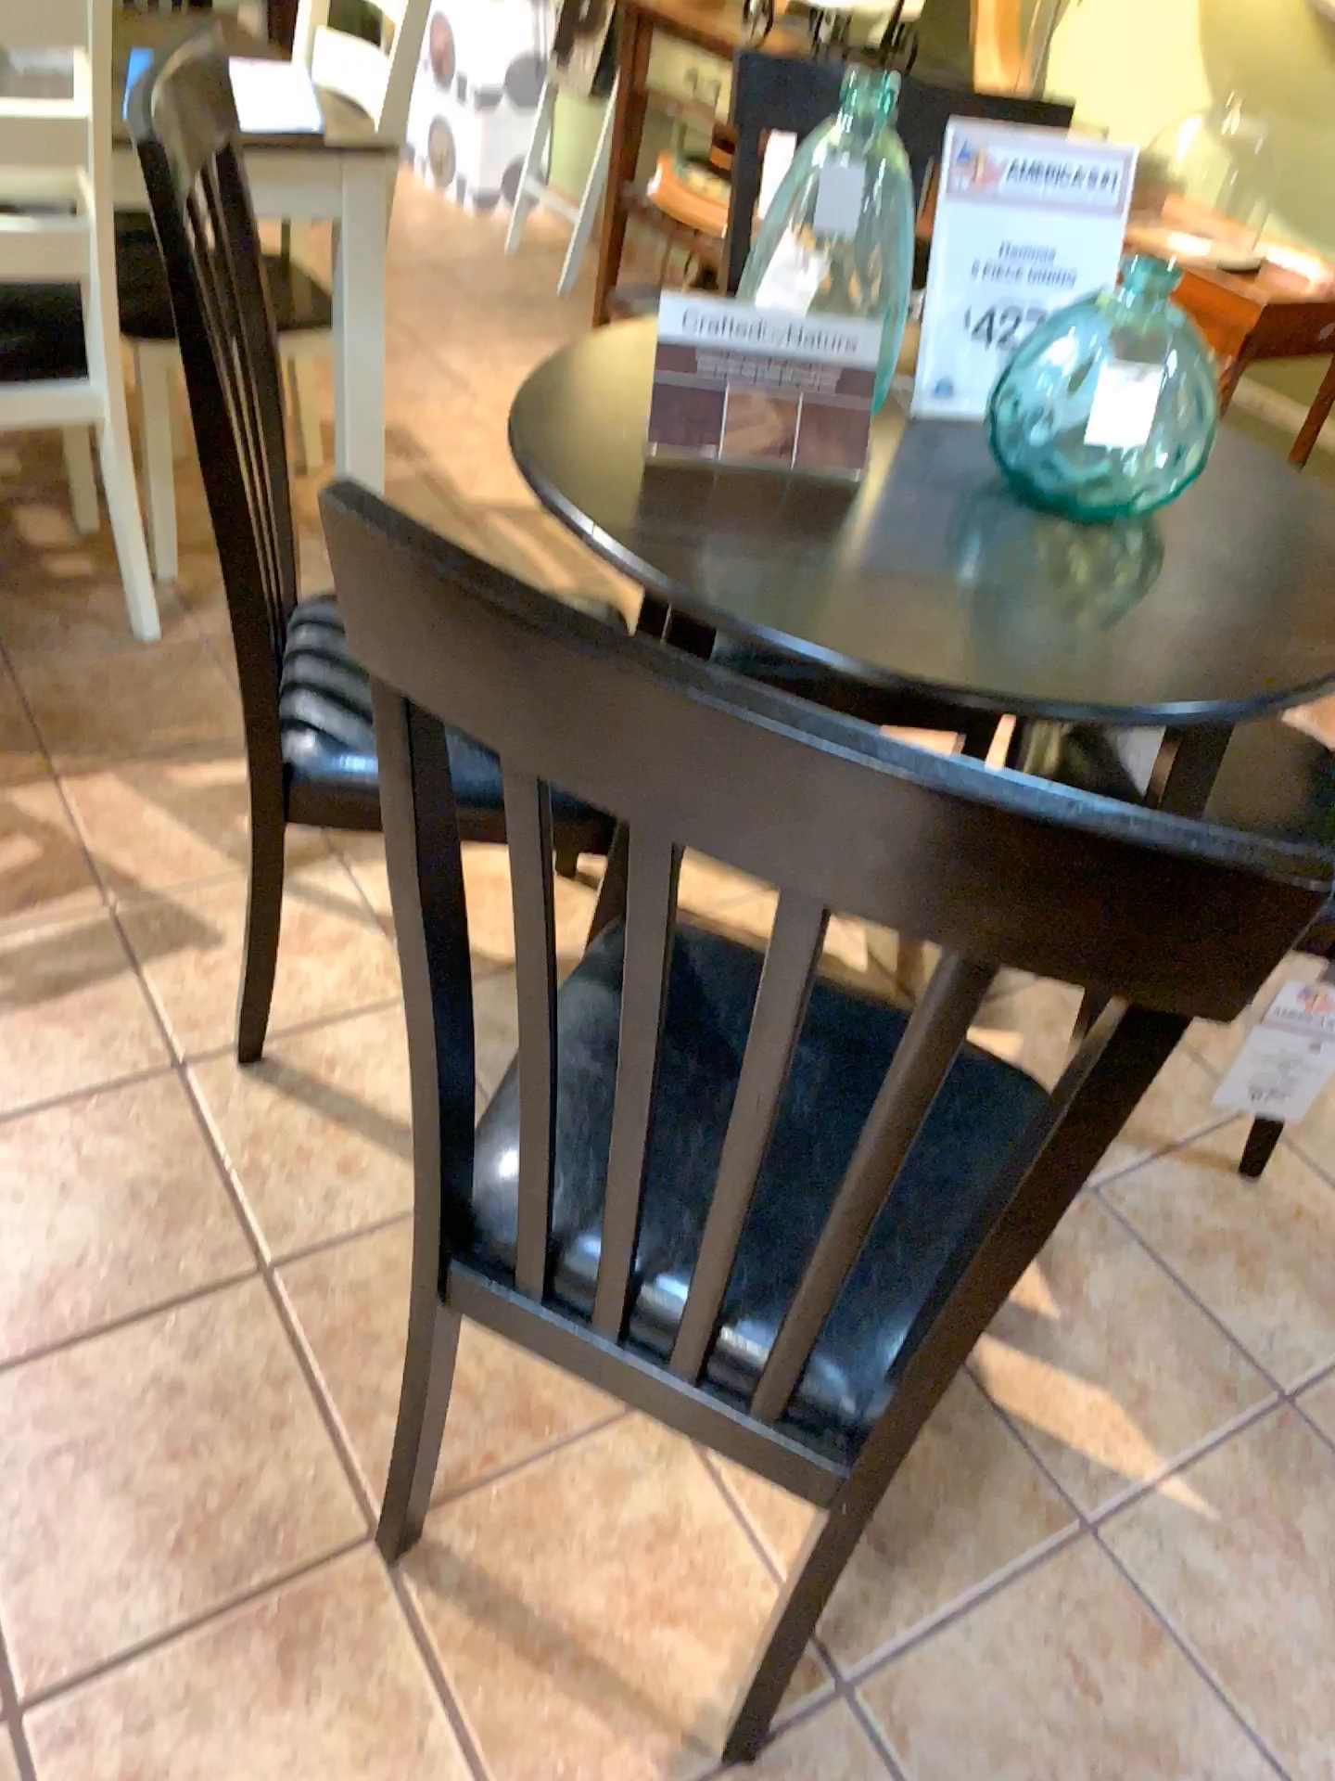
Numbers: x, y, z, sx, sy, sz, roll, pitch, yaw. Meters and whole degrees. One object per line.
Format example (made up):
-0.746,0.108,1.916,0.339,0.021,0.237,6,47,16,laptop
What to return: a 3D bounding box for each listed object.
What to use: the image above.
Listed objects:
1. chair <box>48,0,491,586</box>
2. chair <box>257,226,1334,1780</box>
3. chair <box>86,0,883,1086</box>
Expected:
-0.617,-0.998,2.161,0.522,0.883,0.406,-10,44,-23,chair
0.100,0.129,0.970,0.454,0.923,0.564,23,41,15,chair
-0.208,-0.276,1.367,0.541,0.933,0.386,-1,41,-14,chair
